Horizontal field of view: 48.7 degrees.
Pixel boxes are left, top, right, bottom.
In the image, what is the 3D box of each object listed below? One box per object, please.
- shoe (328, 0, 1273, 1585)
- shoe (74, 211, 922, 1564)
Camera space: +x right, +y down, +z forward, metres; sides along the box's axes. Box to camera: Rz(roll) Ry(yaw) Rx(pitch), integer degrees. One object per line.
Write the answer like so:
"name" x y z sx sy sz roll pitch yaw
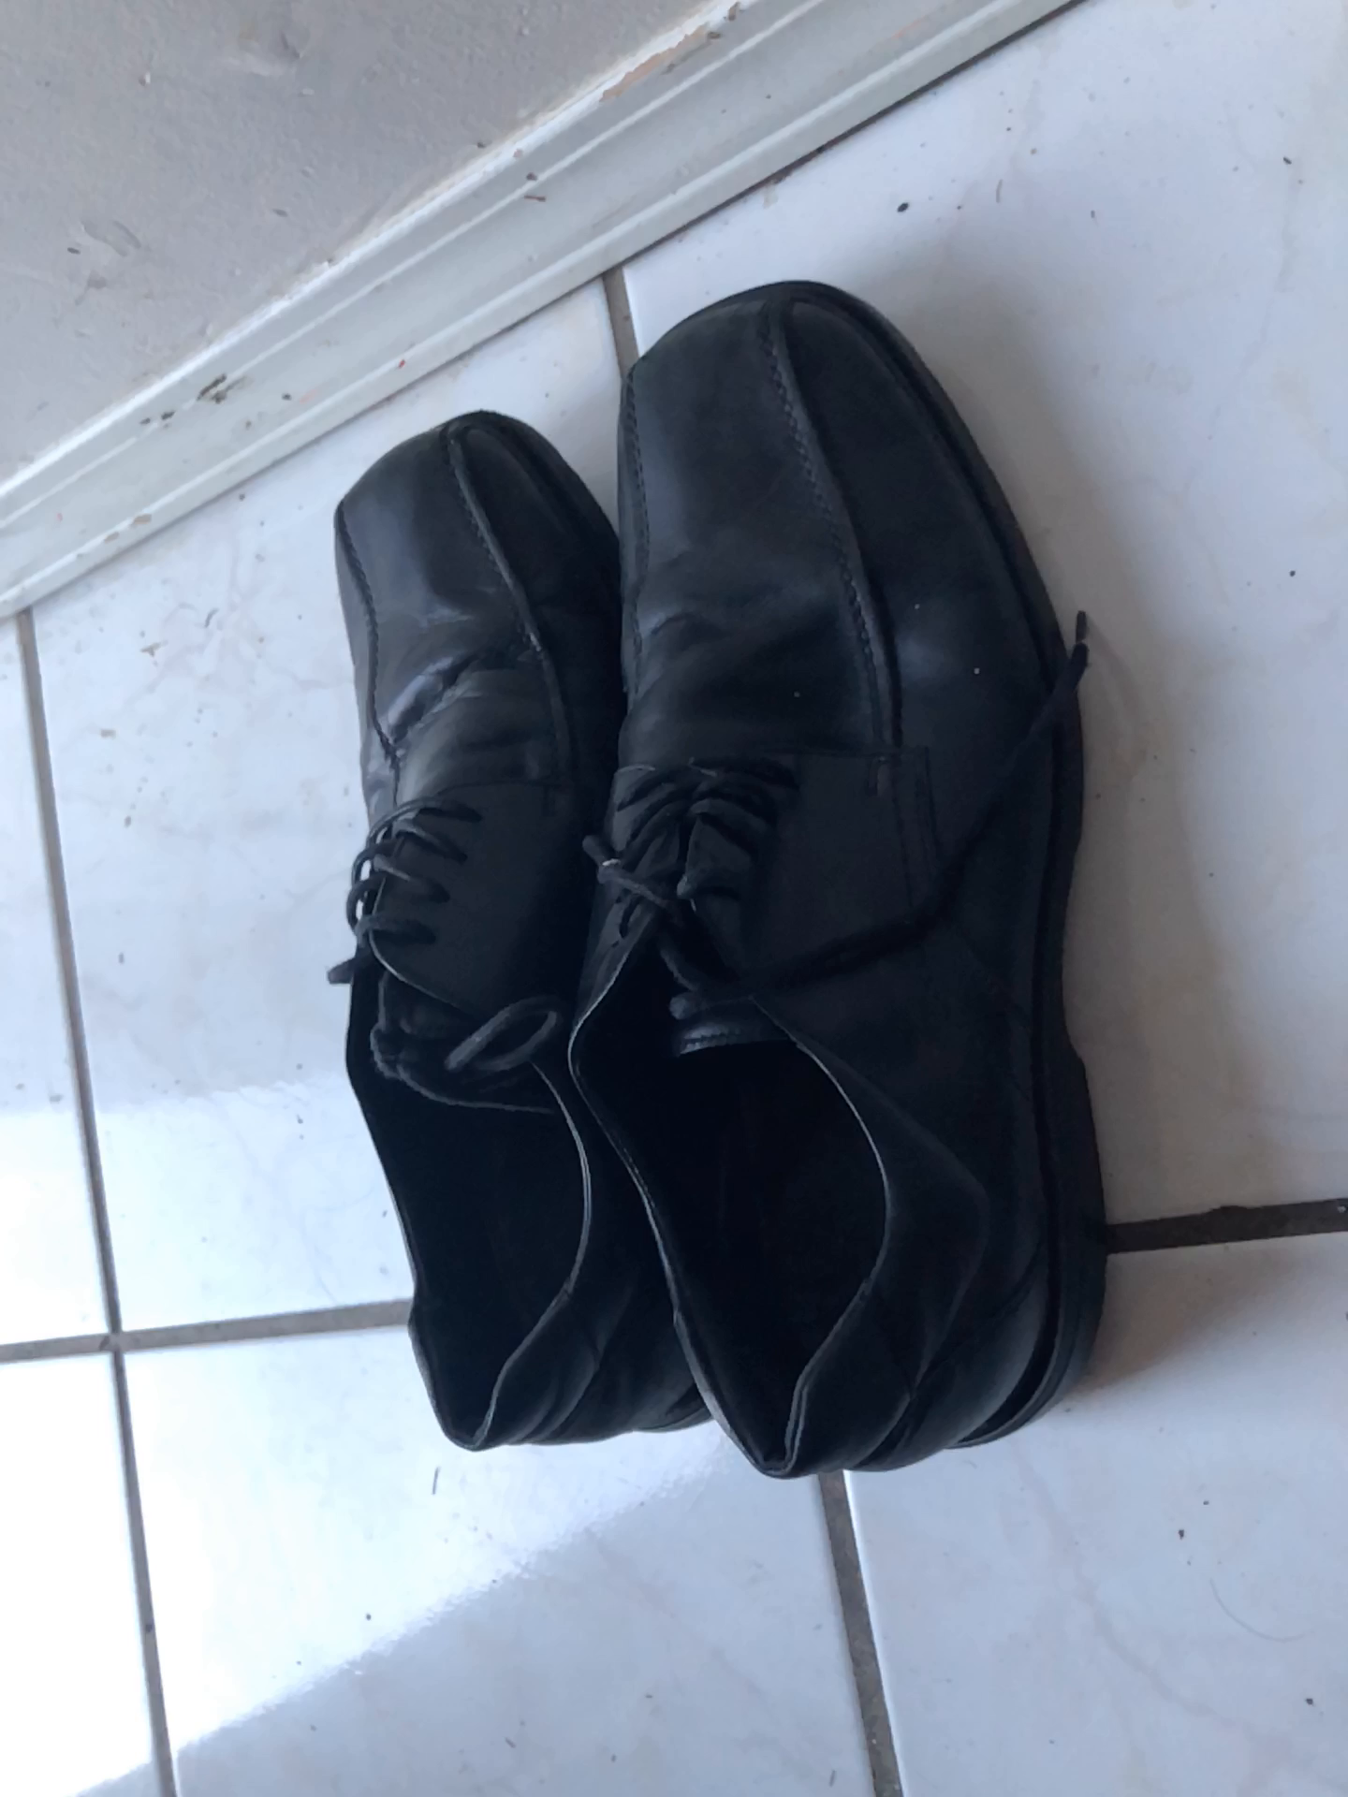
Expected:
"shoe" 0.024 -0.020 0.323 0.110 0.100 0.290 -18 80 33
"shoe" -0.051 0.000 0.386 0.120 0.100 0.290 -22 77 32
